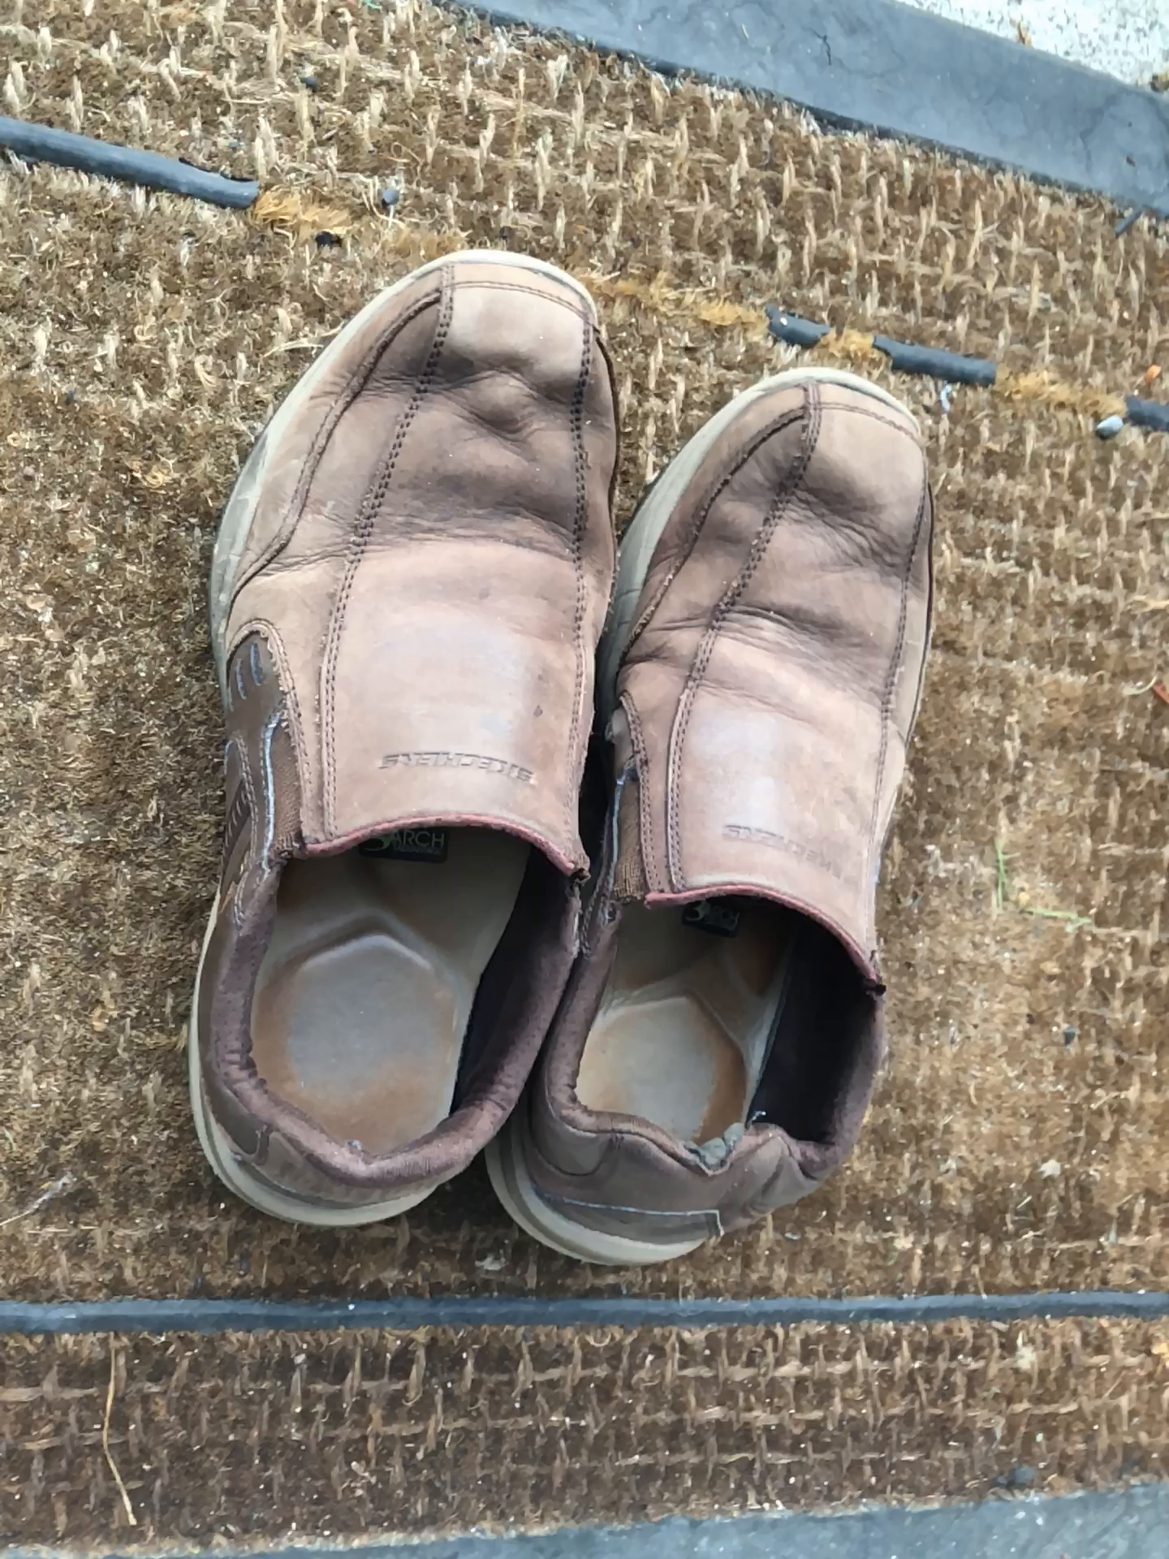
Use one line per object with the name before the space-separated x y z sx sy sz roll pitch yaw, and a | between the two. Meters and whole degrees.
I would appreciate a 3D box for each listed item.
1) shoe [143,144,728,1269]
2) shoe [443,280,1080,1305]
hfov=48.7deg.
shoe | -0.049 -0.014 0.371 0.100 0.100 0.267 11 90 -18
shoe | 0.046 0.006 0.387 0.100 0.100 0.254 14 89 -18
